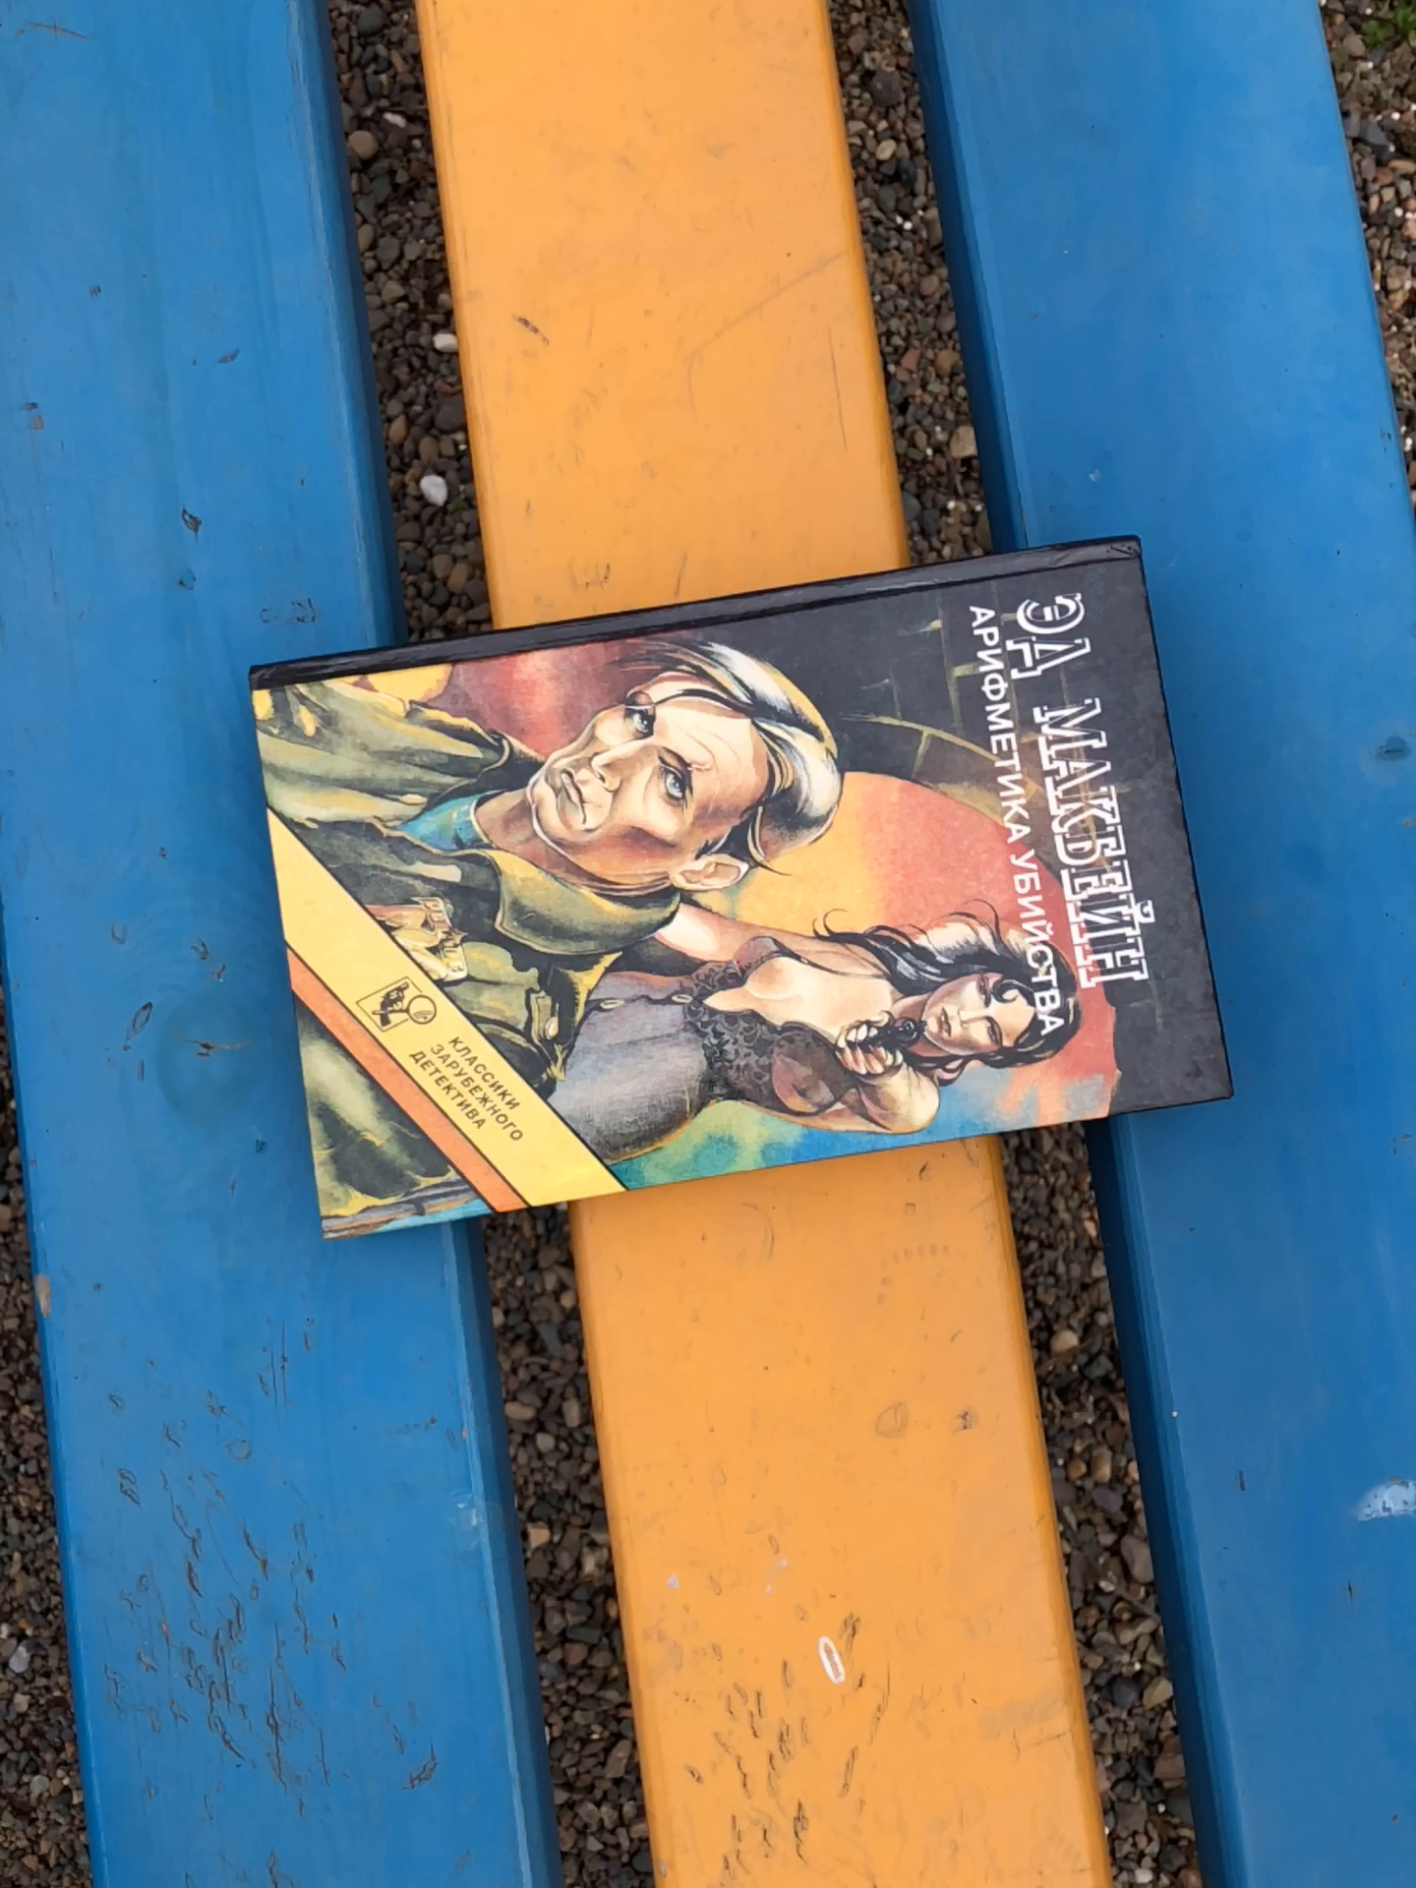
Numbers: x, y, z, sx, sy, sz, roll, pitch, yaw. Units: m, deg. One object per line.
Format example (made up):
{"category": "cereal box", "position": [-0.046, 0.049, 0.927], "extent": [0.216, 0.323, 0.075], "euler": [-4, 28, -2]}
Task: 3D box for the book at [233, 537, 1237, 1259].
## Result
{"category": "book", "position": [0.005, -0.011, 0.369], "extent": [0.210, 0.030, 0.135], "euler": [-8, 86, 0]}
